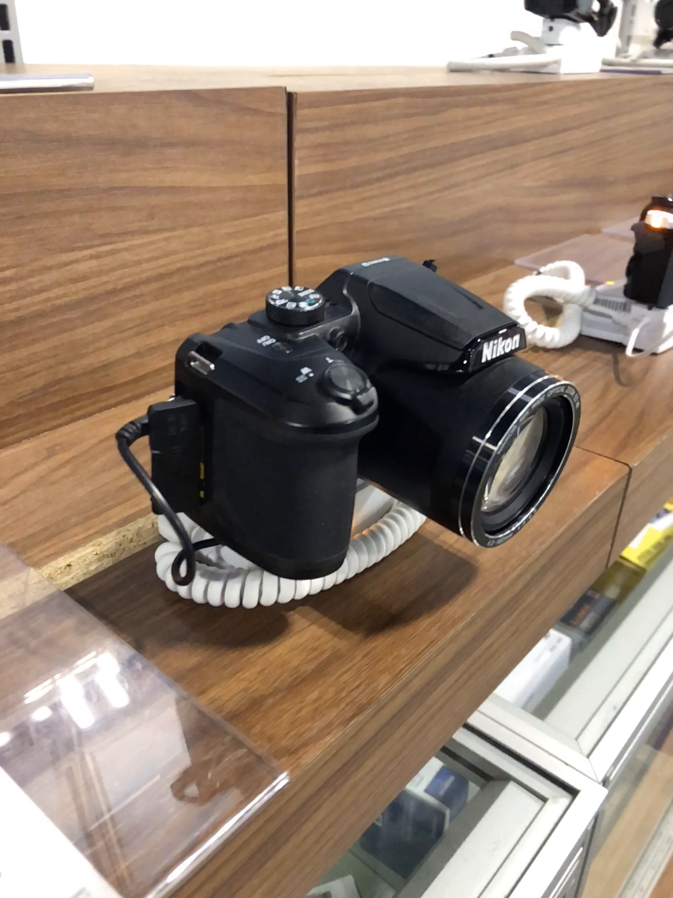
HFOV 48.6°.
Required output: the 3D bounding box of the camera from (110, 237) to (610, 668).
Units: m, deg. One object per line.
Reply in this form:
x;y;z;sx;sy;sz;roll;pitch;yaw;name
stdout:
0.008;-0.013;0.250;0.110;0.079;0.110;23;35;36;camera
